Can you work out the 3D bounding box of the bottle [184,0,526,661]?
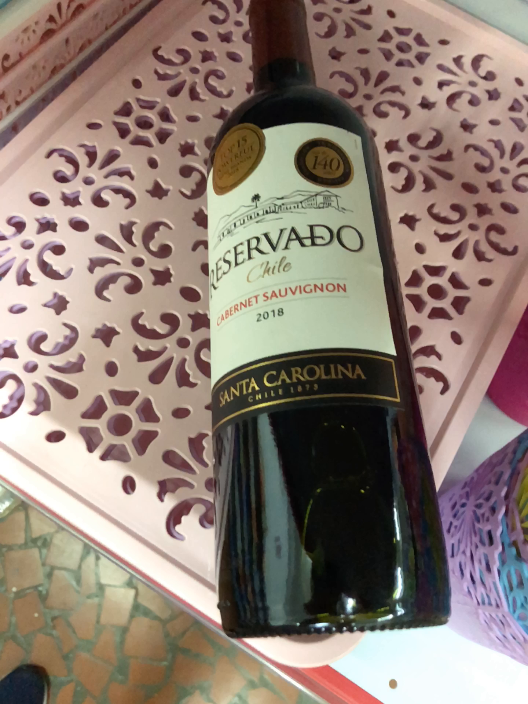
[{"bbox_3d":[0.011,-0.064,0.238,0.080,0.060,0.331,-1,62,-5],"label":"bottle"}]
